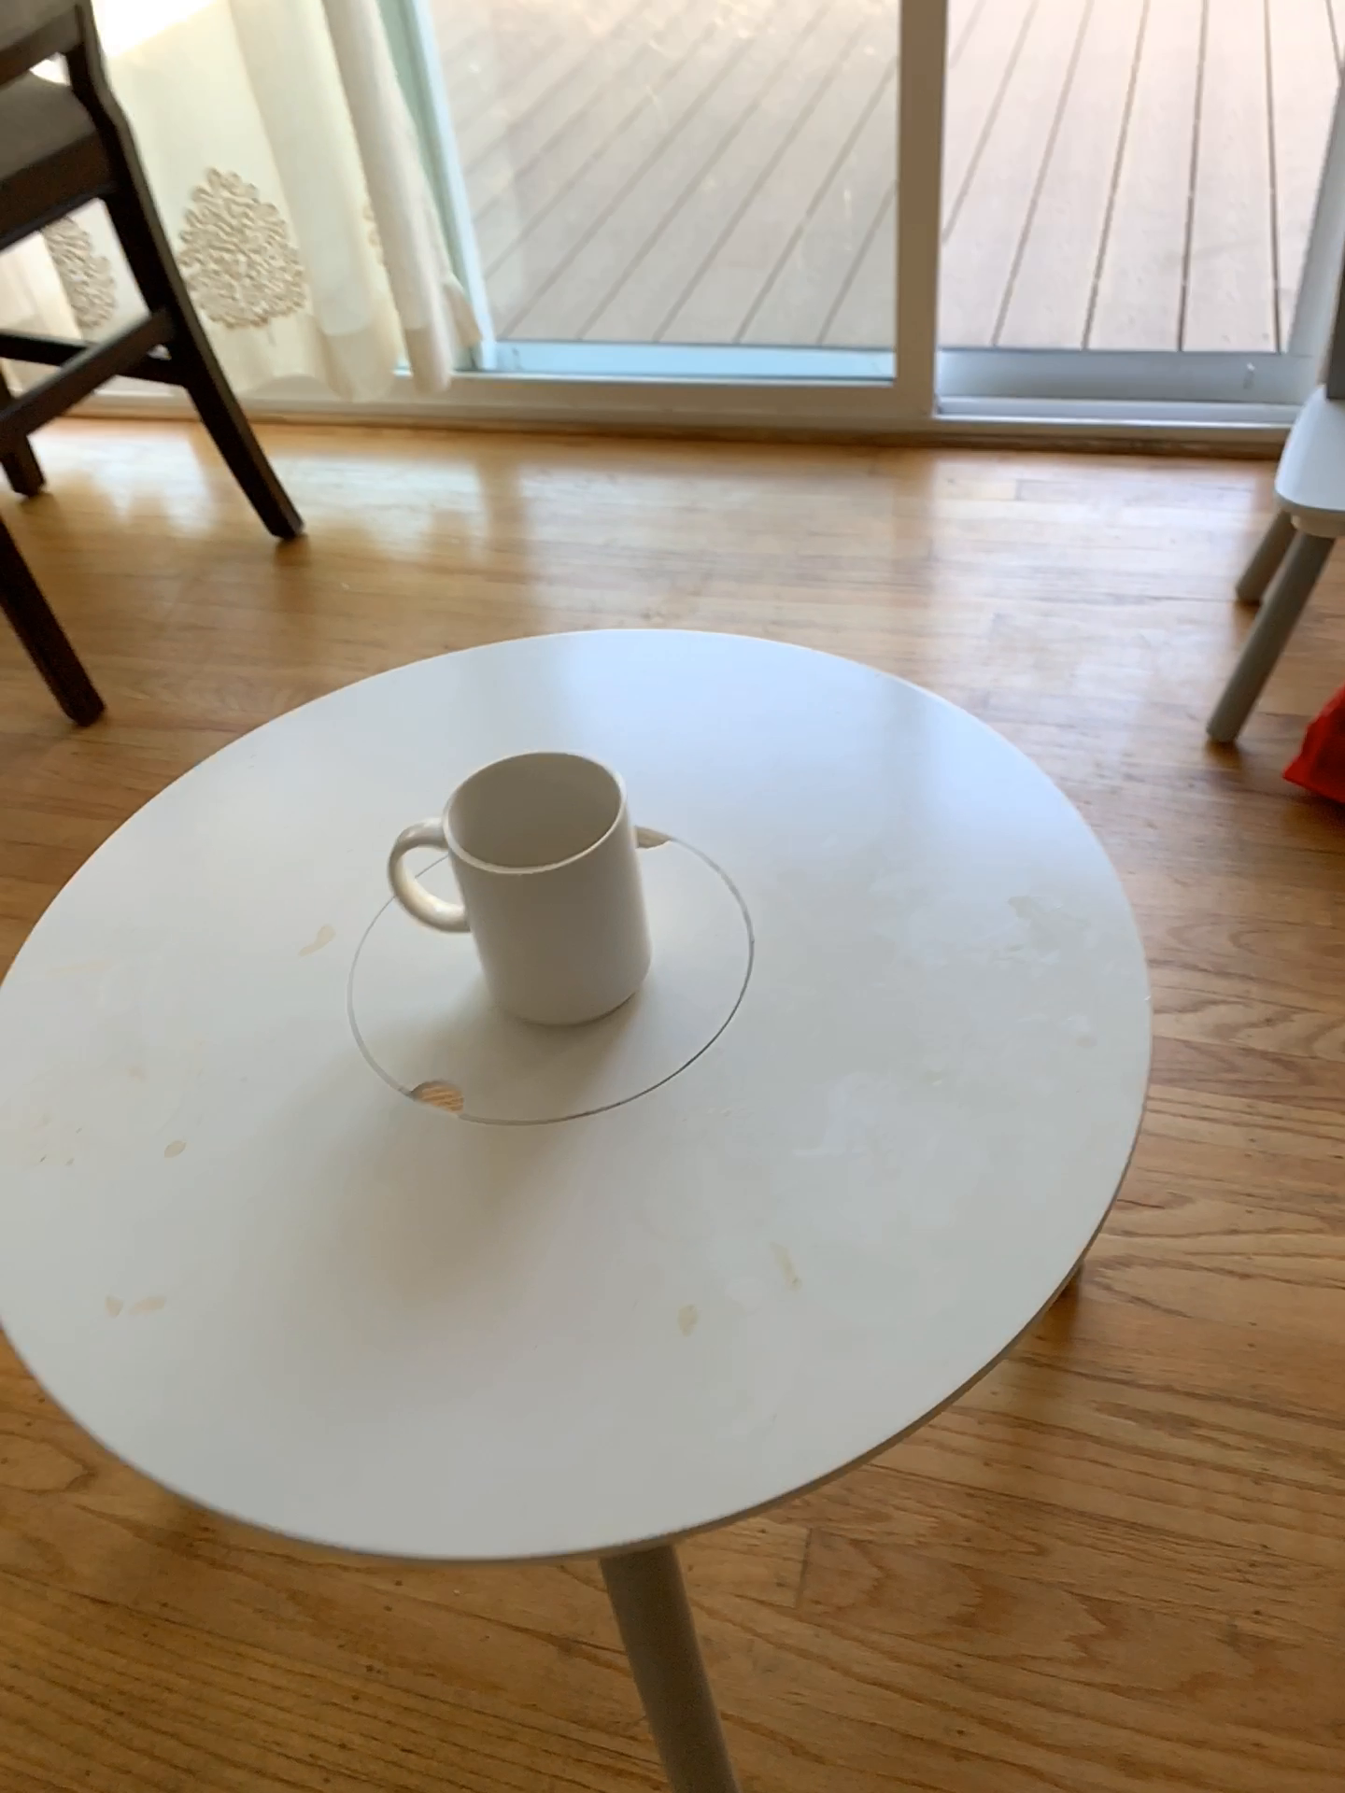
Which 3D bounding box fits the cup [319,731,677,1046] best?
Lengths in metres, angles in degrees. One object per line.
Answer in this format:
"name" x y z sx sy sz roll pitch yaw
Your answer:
"cup" -0.078 -0.006 0.671 0.130 0.090 0.110 5 46 14
